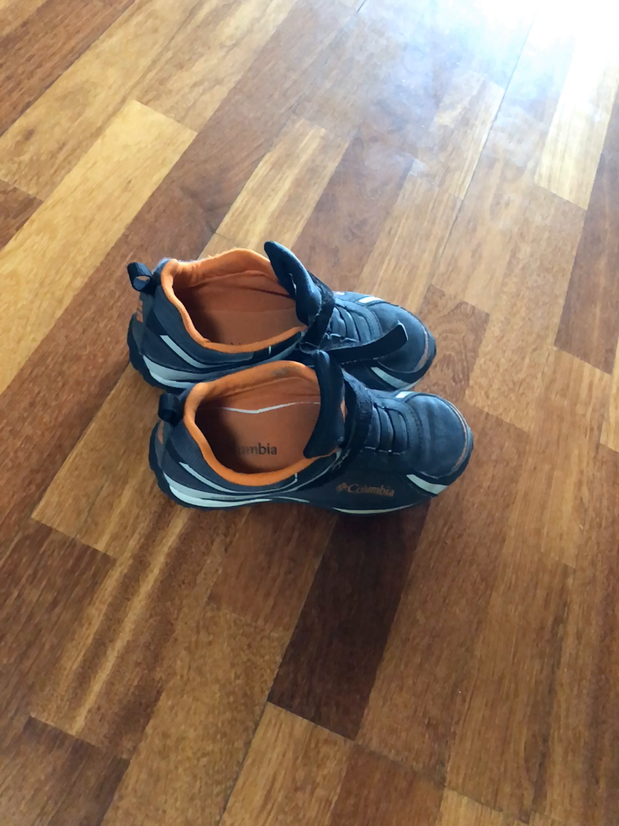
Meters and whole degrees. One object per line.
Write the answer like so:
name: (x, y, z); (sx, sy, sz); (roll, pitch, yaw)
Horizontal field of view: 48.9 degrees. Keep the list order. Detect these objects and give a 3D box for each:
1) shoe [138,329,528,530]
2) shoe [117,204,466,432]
shoe: (0.010, 0.020, 0.485); (0.247, 0.102, 0.097); (4, 64, -15)
shoe: (-0.023, -0.067, 0.560); (0.252, 0.126, 0.112); (4, 64, -15)
